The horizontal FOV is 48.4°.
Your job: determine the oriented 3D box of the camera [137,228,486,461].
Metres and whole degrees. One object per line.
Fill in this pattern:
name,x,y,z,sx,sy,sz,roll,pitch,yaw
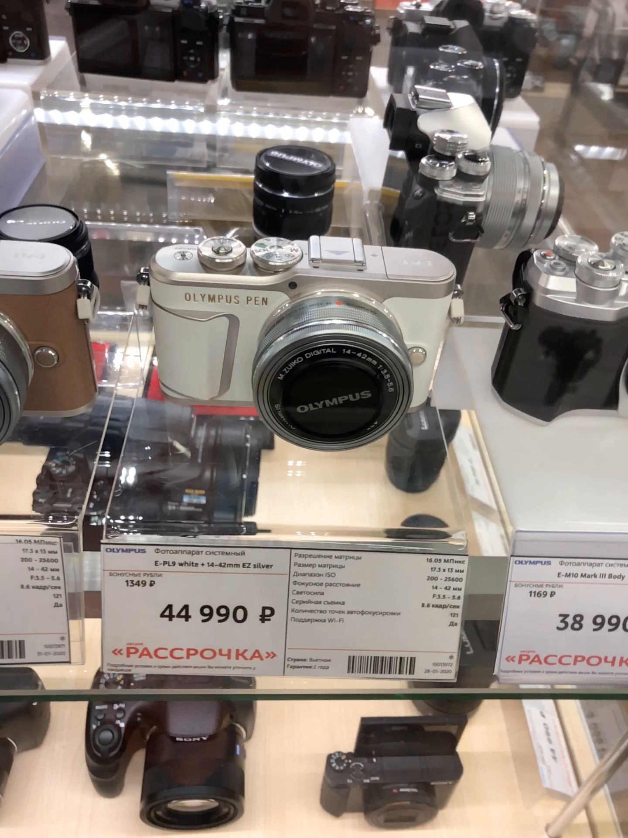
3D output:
camera,-0.004,-0.027,0.270,0.114,0.070,0.053,1,42,-5

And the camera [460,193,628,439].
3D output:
camera,0.124,-0.037,0.264,0.114,0.072,0.053,1,42,-5

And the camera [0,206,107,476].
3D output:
camera,-0.128,-0.027,0.249,0.087,0.072,0.061,0,42,-6

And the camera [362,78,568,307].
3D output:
camera,0.070,-0.122,0.369,0.072,0.072,0.115,1,42,-5
